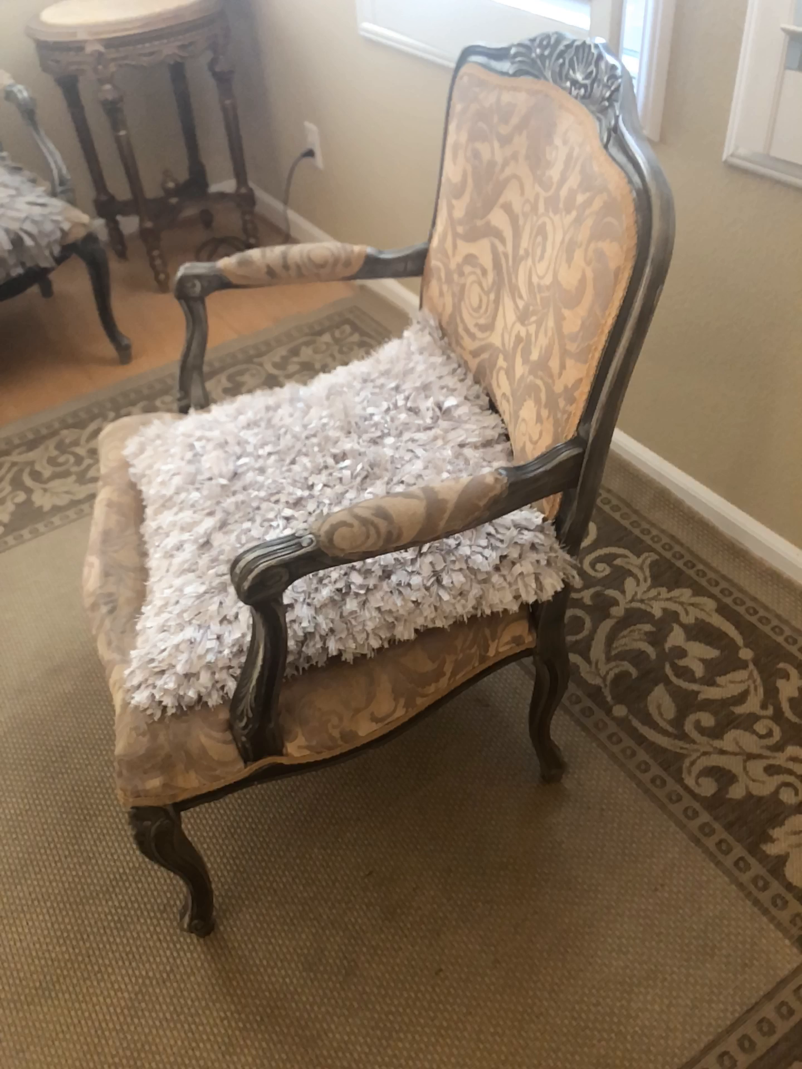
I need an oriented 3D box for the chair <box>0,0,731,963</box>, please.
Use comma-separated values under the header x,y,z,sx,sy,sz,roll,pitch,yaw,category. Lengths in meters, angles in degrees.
x,y,z,sx,sy,sz,roll,pitch,yaw,category
-0.149,-0.118,1.161,0.651,0.972,0.766,-14,43,-9,chair
